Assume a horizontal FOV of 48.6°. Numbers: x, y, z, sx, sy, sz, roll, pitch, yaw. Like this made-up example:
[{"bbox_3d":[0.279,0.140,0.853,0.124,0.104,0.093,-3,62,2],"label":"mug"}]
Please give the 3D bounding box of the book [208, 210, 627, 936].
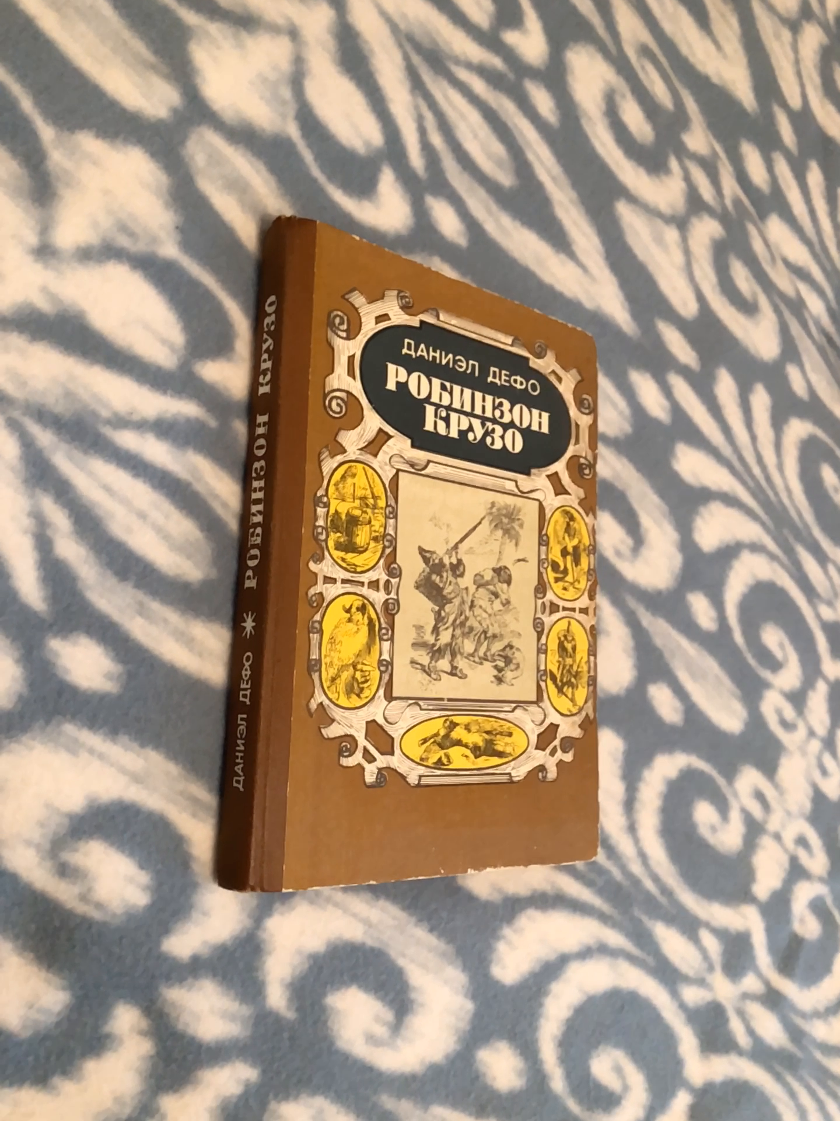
[{"bbox_3d":[0.013,0.009,0.369,0.179,0.024,0.242,9,78,-36],"label":"book"}]
